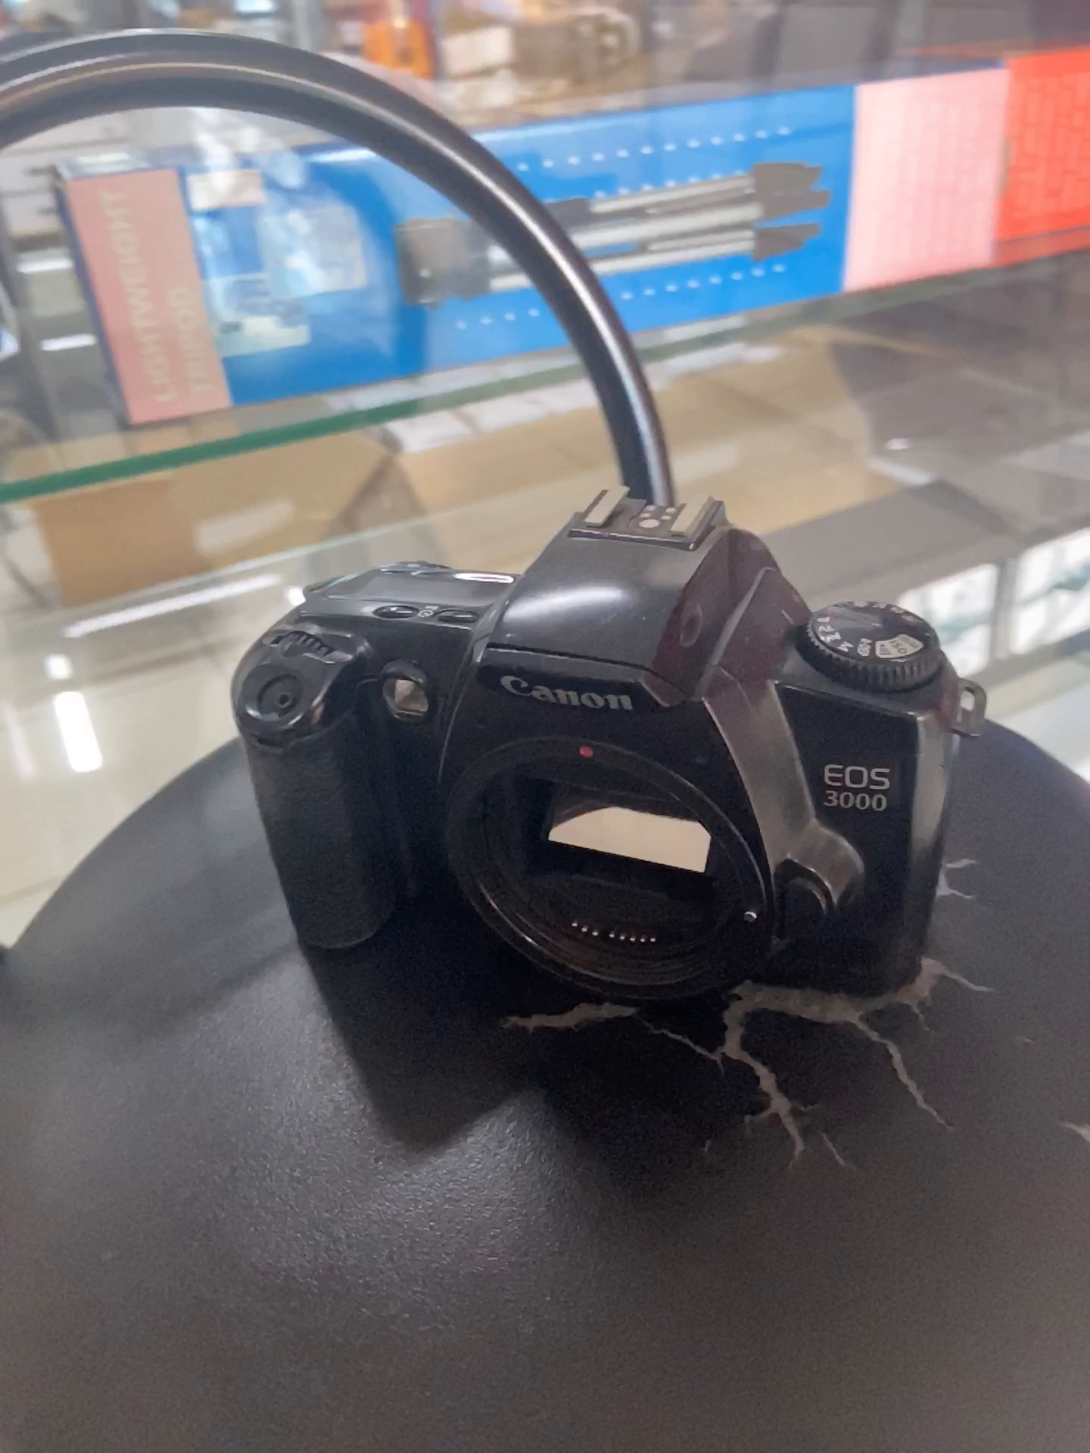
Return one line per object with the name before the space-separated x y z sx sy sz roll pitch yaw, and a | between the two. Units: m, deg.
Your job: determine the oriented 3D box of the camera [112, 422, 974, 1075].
camera | 0.005 -0.003 0.229 0.140 0.089 0.070 8 35 19
